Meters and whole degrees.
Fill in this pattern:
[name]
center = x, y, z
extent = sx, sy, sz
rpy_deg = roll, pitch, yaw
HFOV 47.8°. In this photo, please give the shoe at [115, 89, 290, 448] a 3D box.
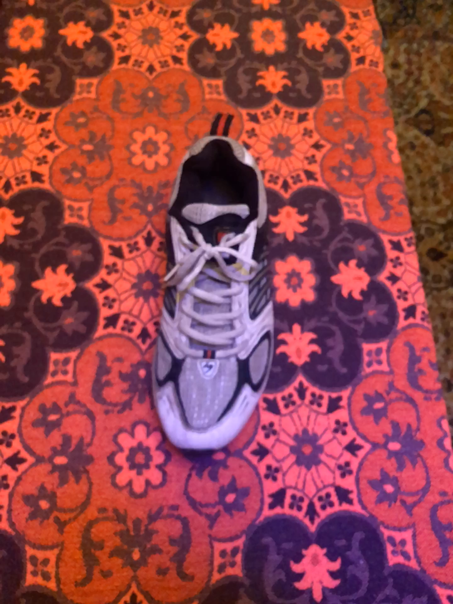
[shoe]
center = -0.019, -0.030, 0.456
extent = 0.120, 0.110, 0.300
rpy_deg = 1, 68, -2
